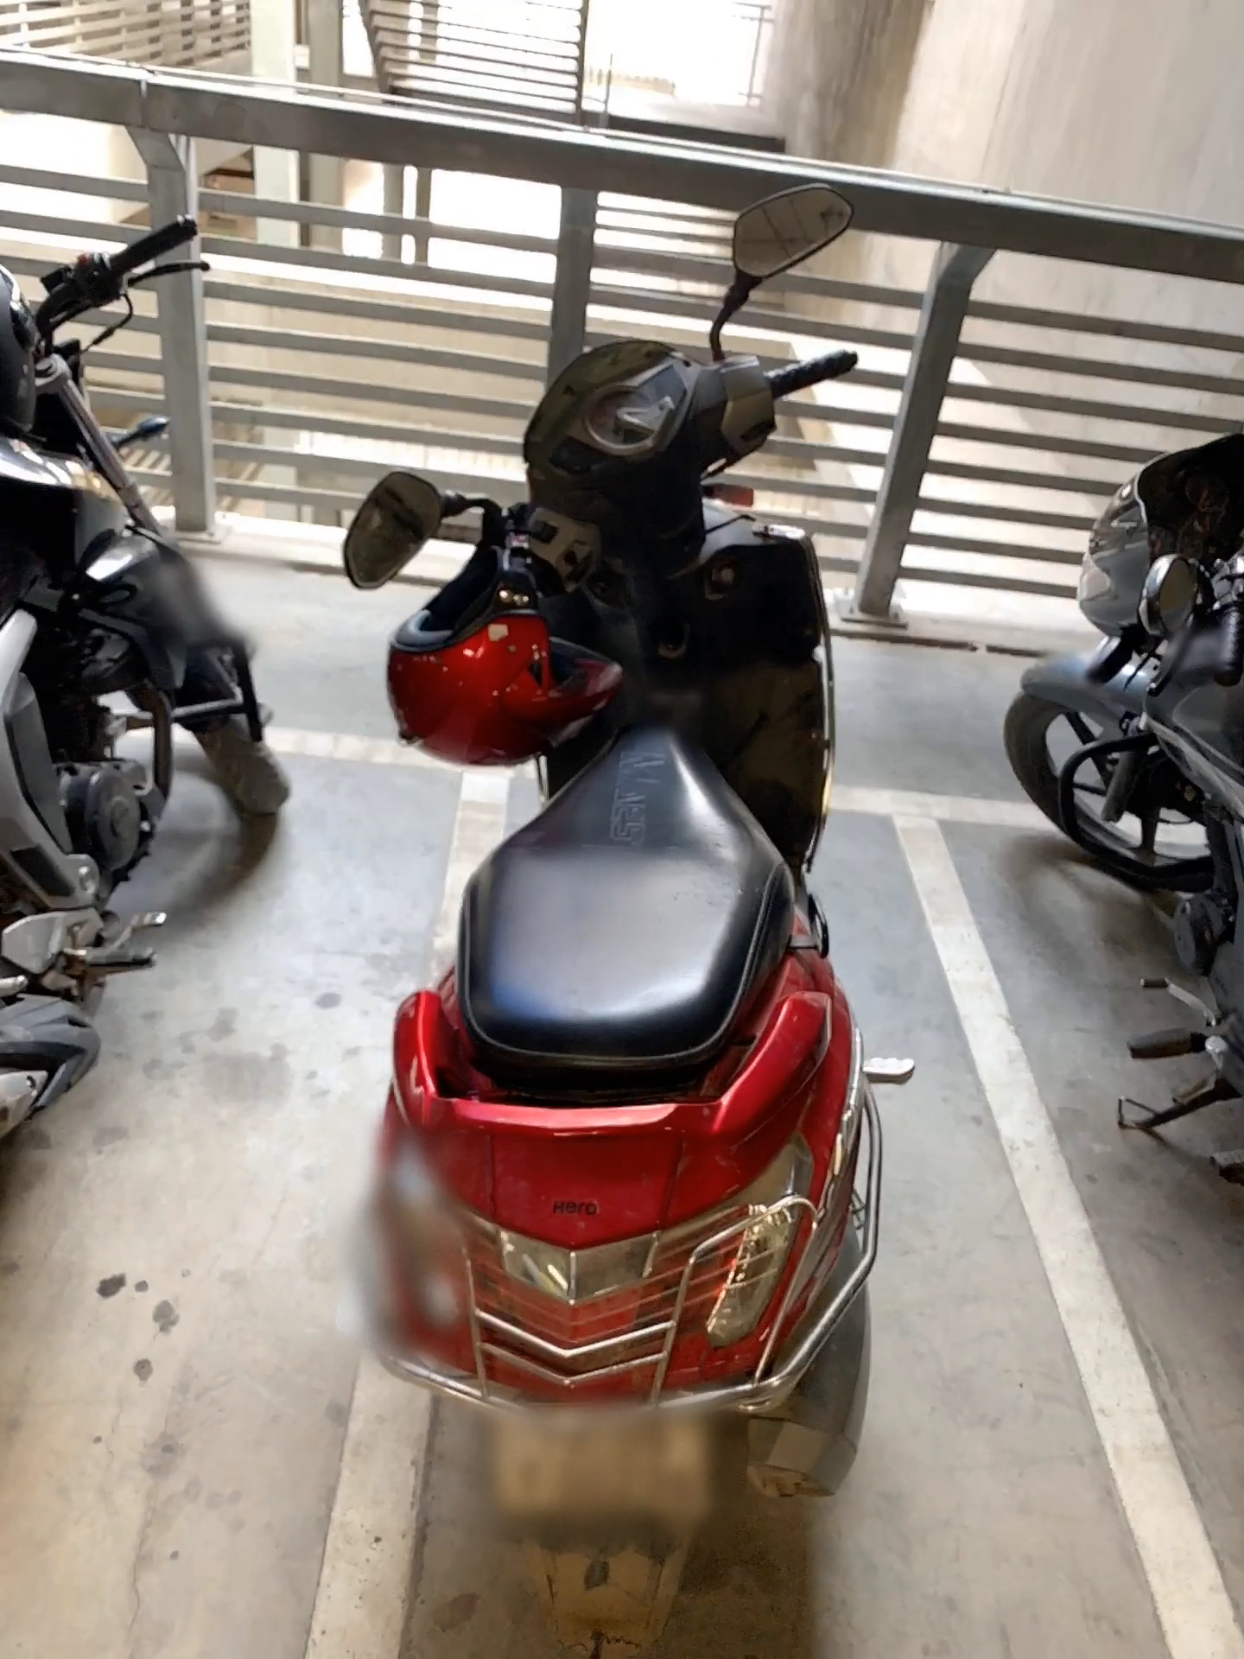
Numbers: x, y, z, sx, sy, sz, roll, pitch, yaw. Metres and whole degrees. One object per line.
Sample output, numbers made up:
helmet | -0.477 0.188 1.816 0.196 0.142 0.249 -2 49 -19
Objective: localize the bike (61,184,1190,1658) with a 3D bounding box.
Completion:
bike | -0.081 -0.091 1.888 0.724 1.165 1.858 5 35 -5
